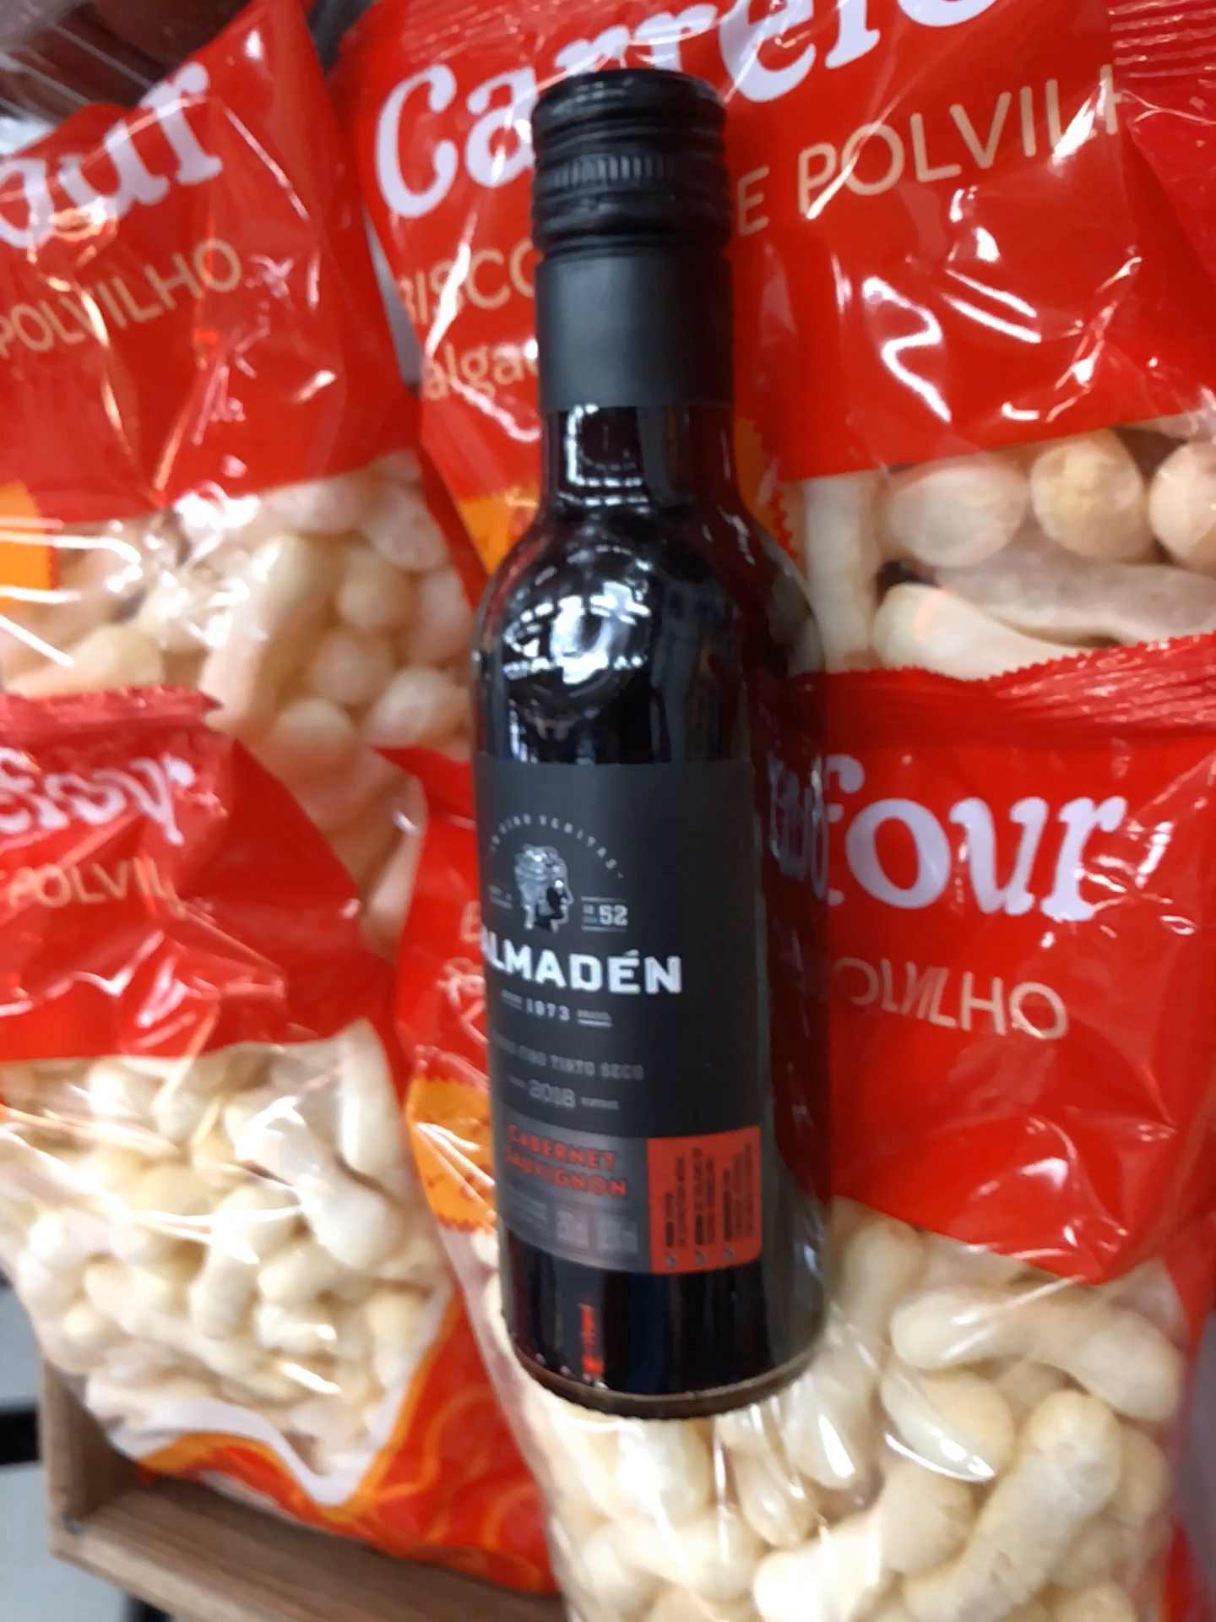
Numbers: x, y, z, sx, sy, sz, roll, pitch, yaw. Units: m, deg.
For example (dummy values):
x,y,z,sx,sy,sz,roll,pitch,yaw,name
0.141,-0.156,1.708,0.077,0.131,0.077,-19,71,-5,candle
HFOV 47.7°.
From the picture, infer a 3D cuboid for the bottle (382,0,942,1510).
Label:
x,y,z,sx,sy,sz,roll,pitch,yaw,name
0.009,-0.014,0.202,0.060,0.050,0.200,5,99,33,bottle
